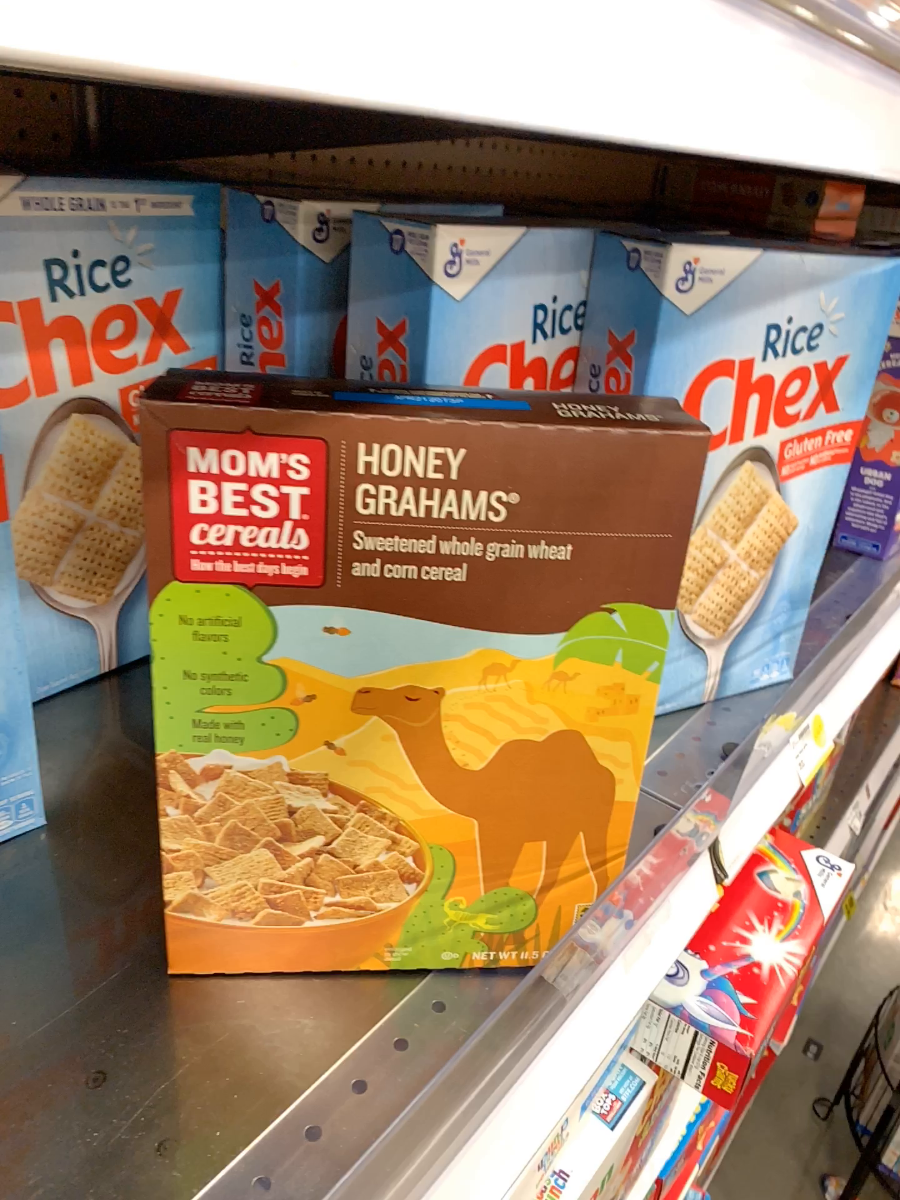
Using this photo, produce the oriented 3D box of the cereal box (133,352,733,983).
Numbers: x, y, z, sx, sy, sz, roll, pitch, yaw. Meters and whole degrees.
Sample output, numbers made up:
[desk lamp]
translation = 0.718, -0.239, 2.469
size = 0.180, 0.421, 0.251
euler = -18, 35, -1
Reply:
[cereal box]
translation = -0.014, 0.040, 0.383
size = 0.200, 0.259, 0.050
euler = 2, 25, -7
